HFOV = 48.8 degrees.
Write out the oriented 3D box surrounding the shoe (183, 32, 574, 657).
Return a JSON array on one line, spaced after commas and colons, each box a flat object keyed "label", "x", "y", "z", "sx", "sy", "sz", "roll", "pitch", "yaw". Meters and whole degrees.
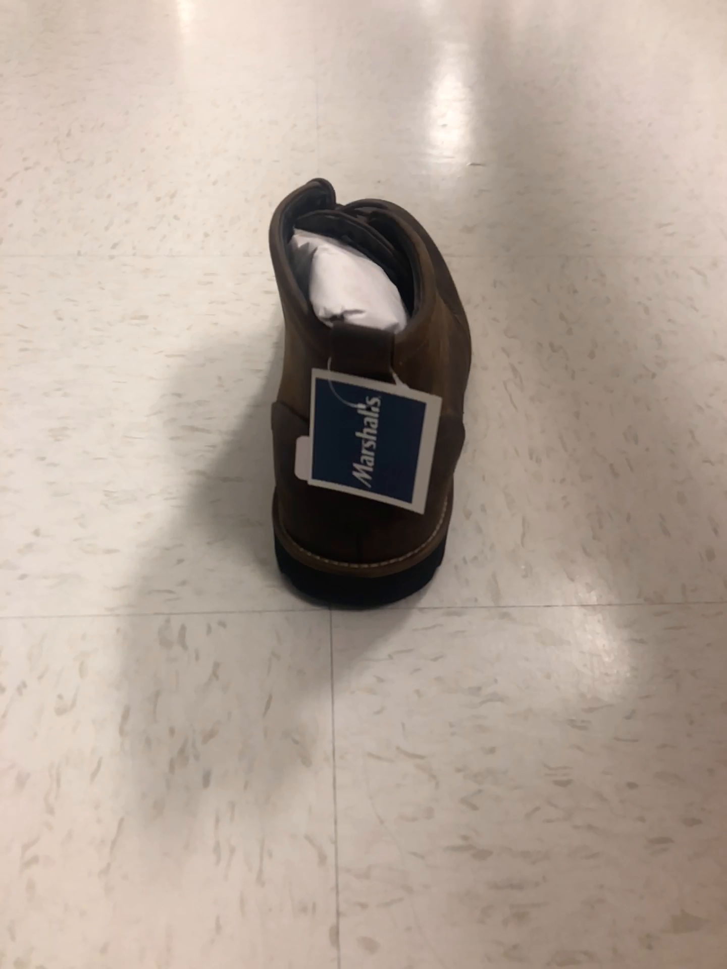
[{"label": "shoe", "x": 0.003, "y": -0.085, "z": 0.395, "sx": 0.115, "sy": 0.167, "sz": 0.284, "roll": 2, "pitch": 45, "yaw": -1}]
